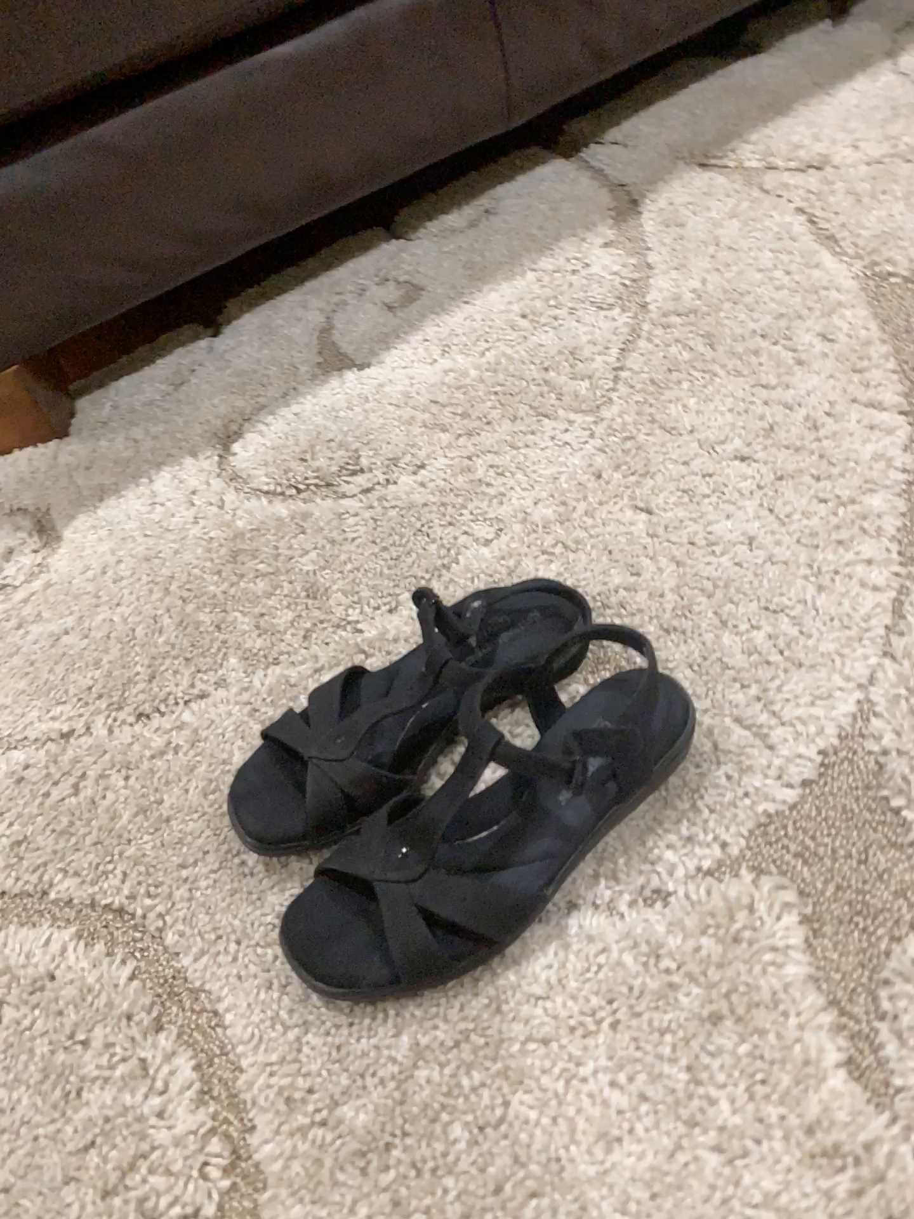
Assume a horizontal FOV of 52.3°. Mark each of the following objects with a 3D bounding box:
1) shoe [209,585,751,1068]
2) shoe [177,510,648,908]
[{"bbox_3d":[0.015,0.095,0.454,0.242,0.059,0.101,-31,45,-13],"label":"shoe"},{"bbox_3d":[-0.022,0.048,0.527,0.242,0.059,0.101,-31,45,-13],"label":"shoe"}]
